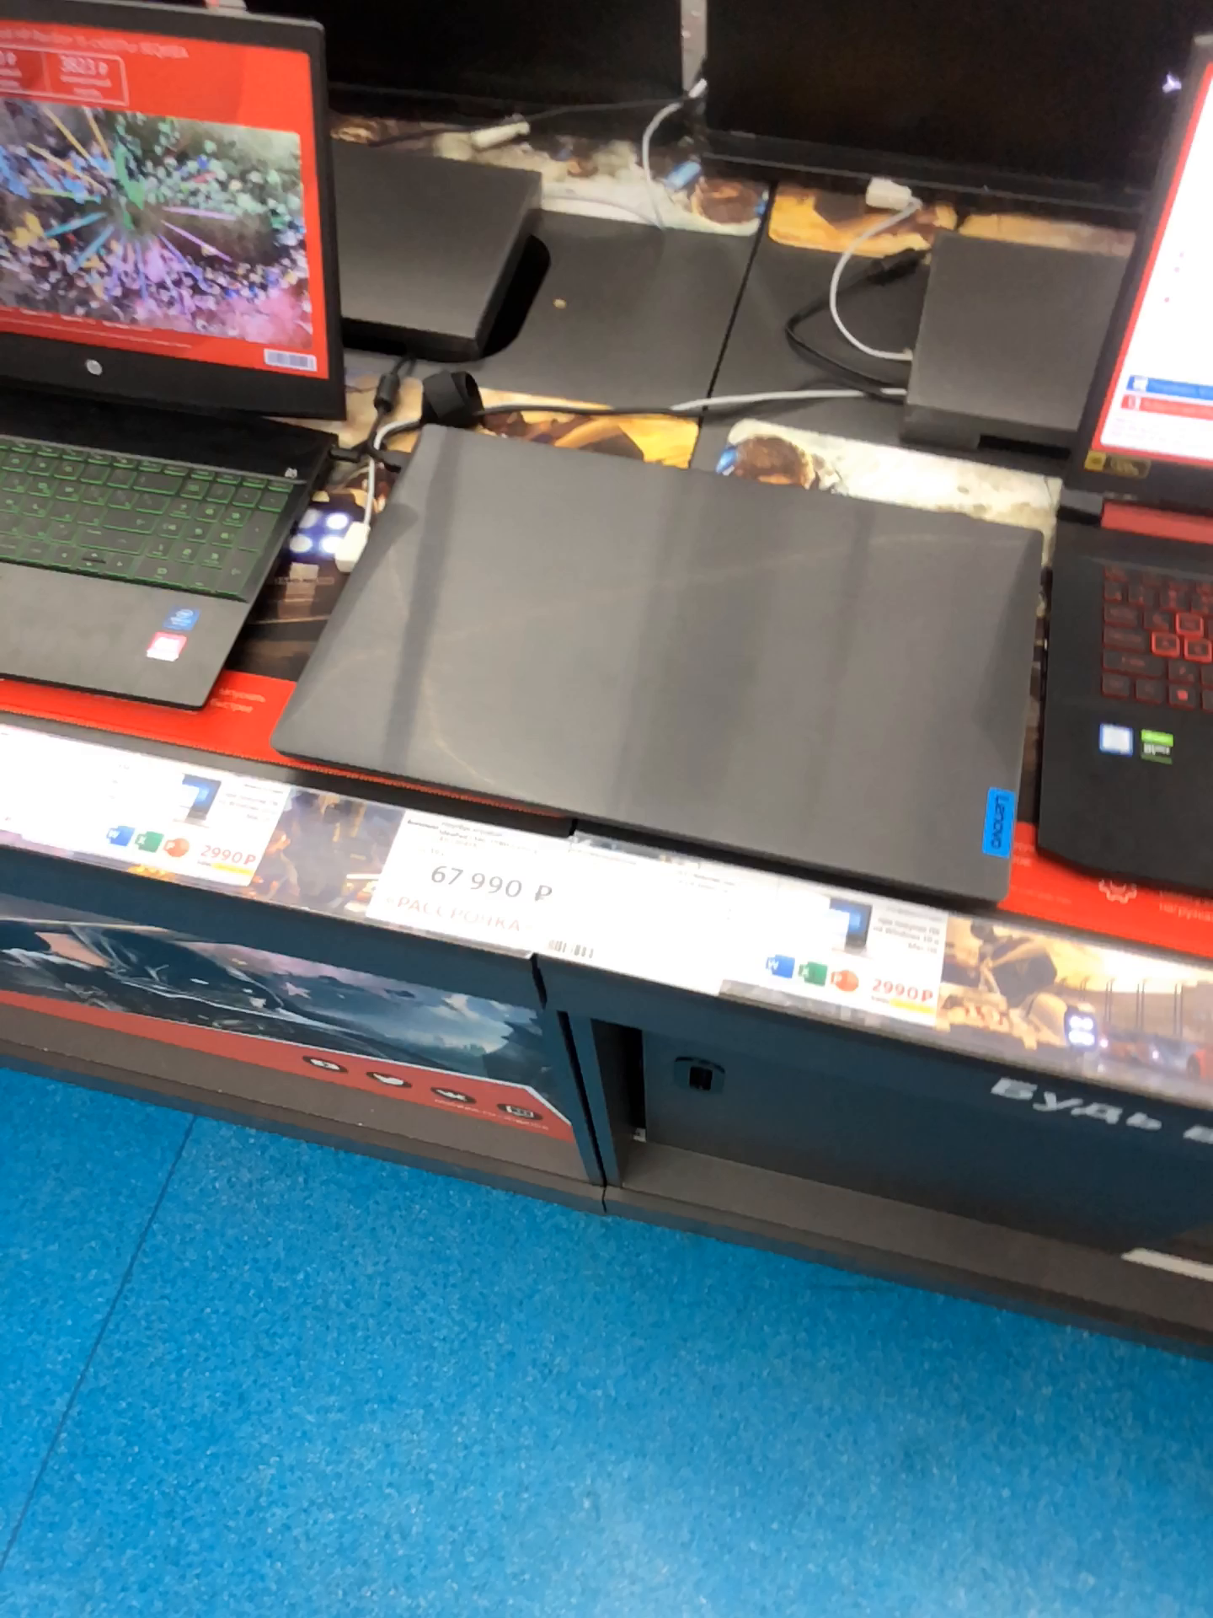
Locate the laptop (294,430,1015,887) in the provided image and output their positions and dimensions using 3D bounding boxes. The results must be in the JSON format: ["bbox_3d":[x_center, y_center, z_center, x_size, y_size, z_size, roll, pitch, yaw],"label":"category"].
[{"bbox_3d":[0.042,-0.107,0.794,0.389,0.002,0.269,11,57,7],"label":"laptop"}]
